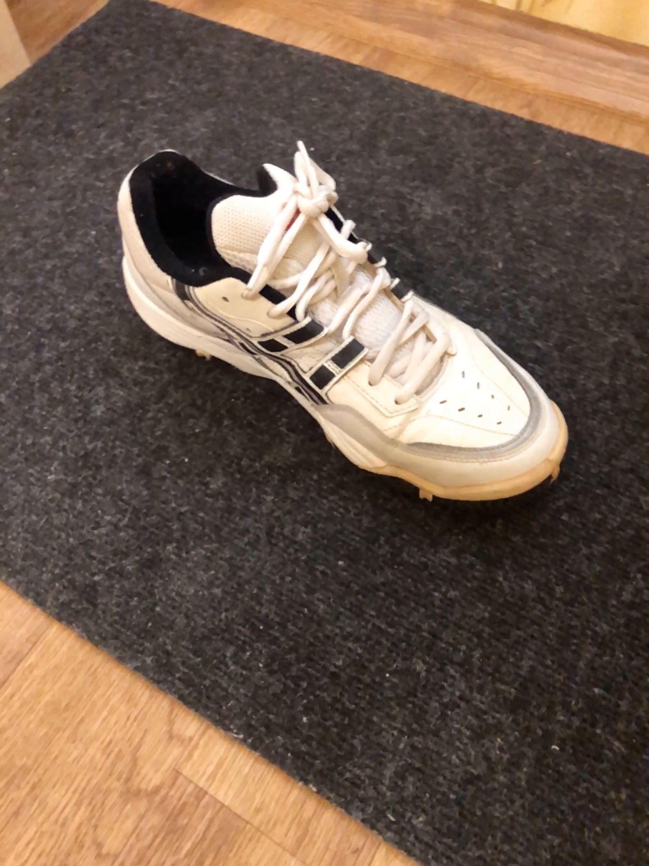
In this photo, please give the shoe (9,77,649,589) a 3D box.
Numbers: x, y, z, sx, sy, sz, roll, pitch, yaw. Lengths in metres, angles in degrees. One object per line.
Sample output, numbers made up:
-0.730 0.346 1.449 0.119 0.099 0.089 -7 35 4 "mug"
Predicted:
-0.002 -0.059 0.362 0.289 0.110 0.100 30 65 21 "shoe"
